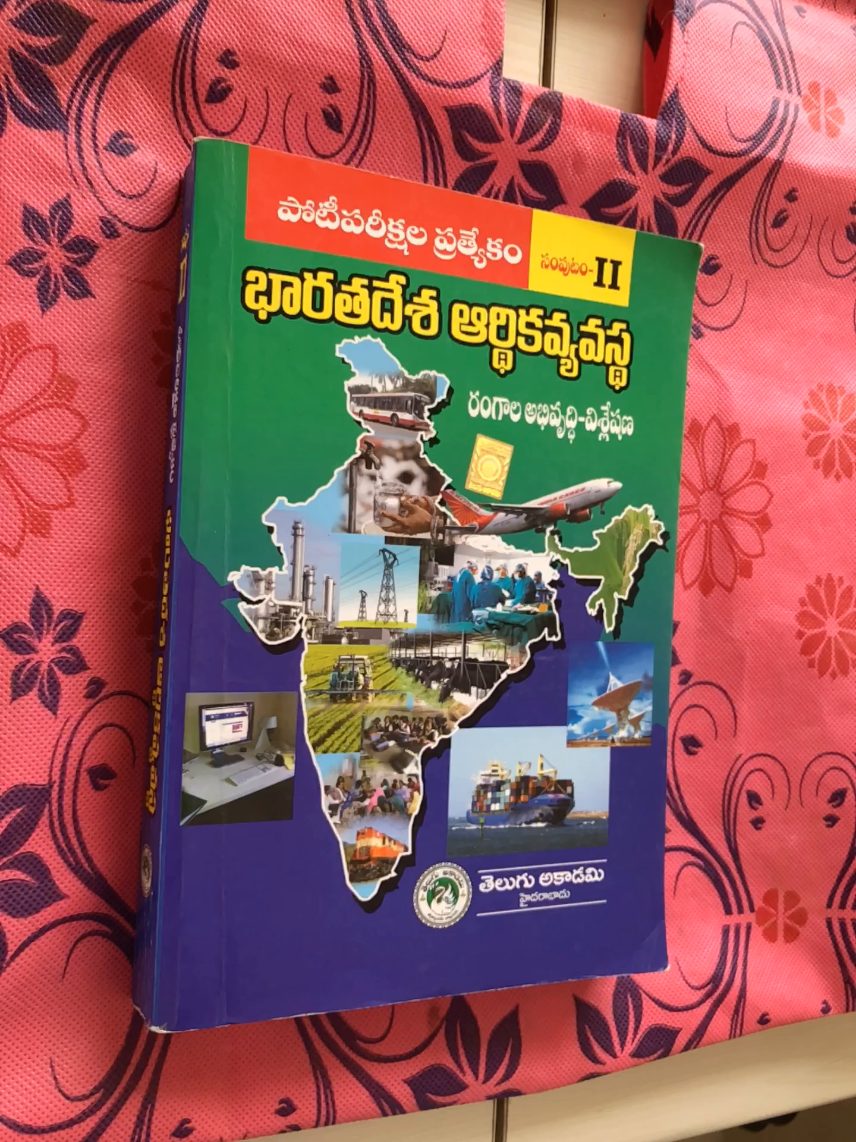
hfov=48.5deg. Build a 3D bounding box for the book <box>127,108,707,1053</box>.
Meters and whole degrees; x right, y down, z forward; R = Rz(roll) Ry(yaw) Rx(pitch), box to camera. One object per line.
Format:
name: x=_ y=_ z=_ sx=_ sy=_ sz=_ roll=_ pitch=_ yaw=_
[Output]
book: x=0.002 y=0.007 z=0.337 sx=0.190 sy=0.040 sz=0.280 roll=3 pitch=89 yaw=-23
